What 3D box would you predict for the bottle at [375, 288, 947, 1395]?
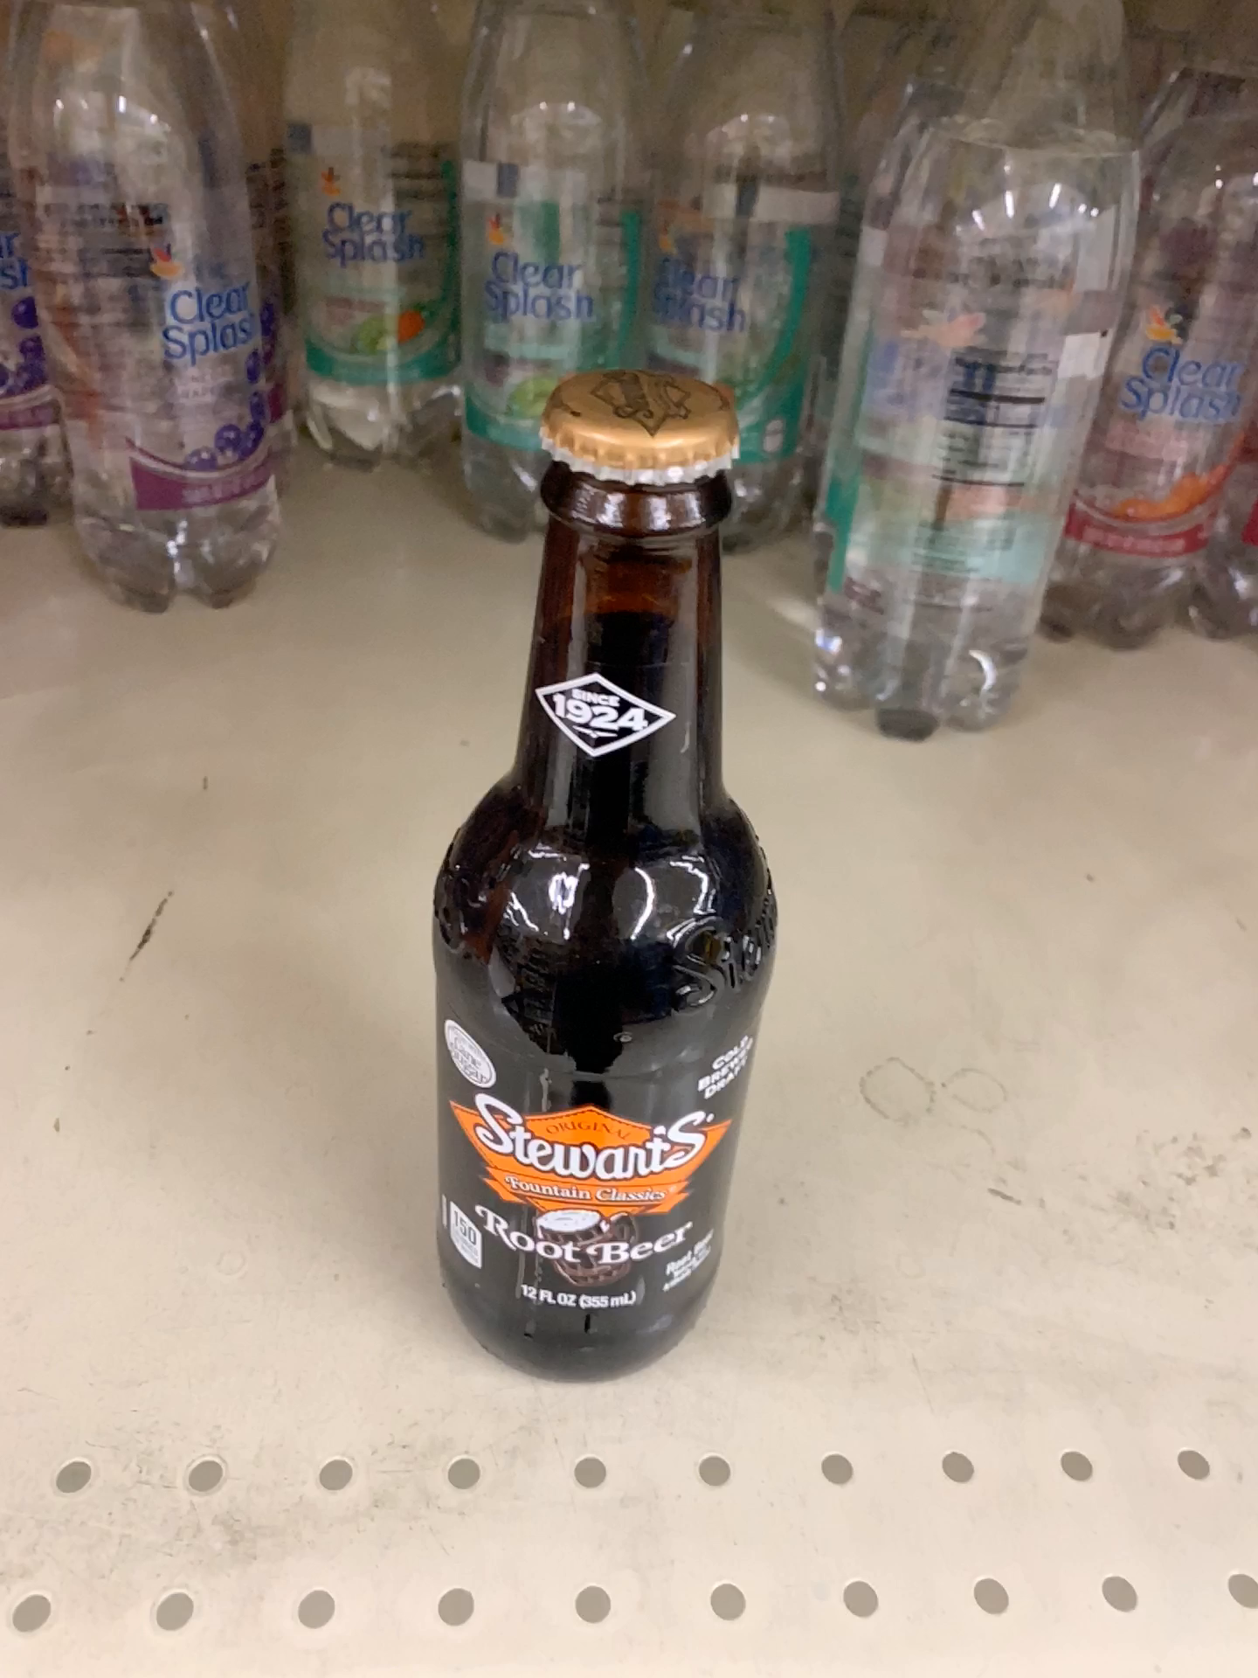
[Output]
[{"bbox_3d":[0.000,0.016,0.245,0.070,0.207,0.060,6,37,3],"label":"bottle"}]
